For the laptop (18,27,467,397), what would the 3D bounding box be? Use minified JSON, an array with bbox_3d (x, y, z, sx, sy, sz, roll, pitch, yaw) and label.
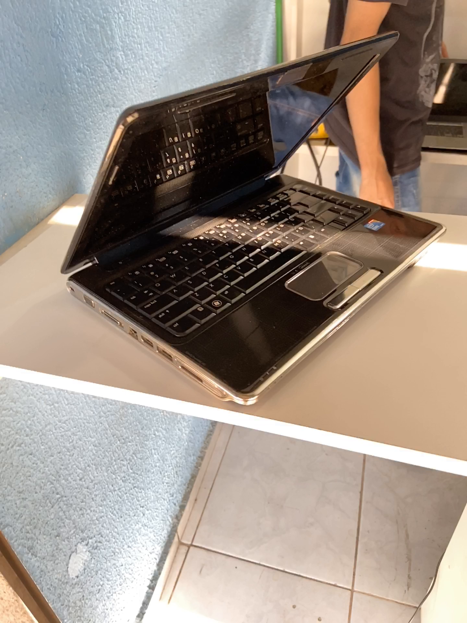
[{"bbox_3d":[0.037,-0.130,0.436,0.225,0.165,0.326,29,47,34],"label":"laptop"}]
